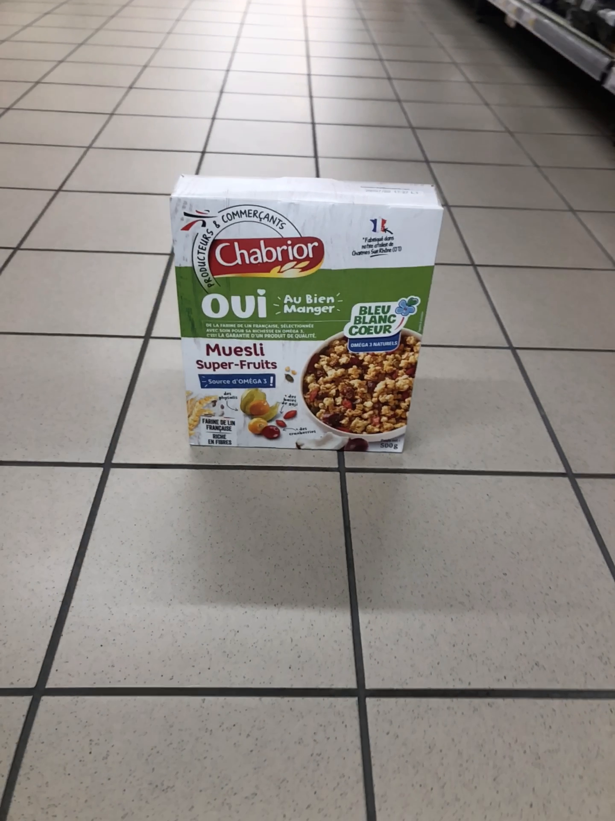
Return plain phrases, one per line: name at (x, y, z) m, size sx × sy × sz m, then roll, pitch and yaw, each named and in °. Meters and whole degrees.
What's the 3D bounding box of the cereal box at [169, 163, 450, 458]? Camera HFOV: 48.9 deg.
cereal box at (-0.003, -0.070, 0.550) m, size 0.190 × 0.229 × 0.060 m, roll 2°, pitch 38°, yaw -2°
